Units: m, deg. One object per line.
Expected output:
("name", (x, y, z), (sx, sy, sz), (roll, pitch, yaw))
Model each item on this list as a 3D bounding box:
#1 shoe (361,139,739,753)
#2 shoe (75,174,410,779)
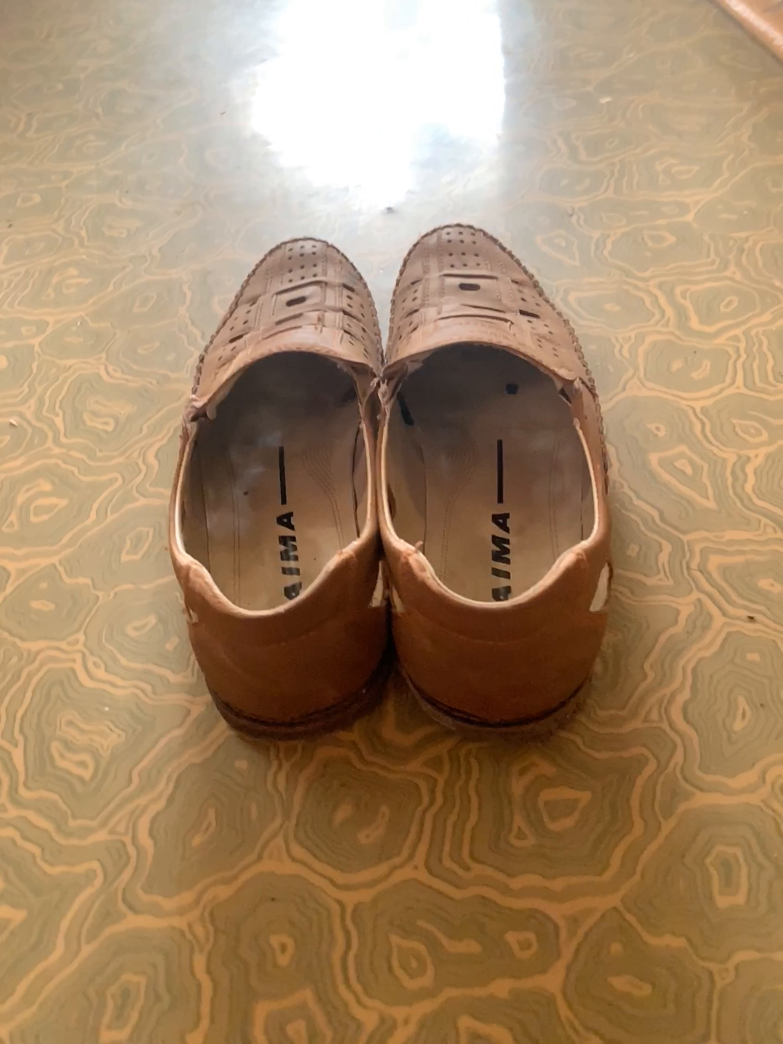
("shoe", (0.049, -0.055, 0.359), (0.110, 0.079, 0.292), (-3, 52, 4))
("shoe", (-0.055, -0.043, 0.373), (0.100, 0.079, 0.292), (-6, 51, 2))
